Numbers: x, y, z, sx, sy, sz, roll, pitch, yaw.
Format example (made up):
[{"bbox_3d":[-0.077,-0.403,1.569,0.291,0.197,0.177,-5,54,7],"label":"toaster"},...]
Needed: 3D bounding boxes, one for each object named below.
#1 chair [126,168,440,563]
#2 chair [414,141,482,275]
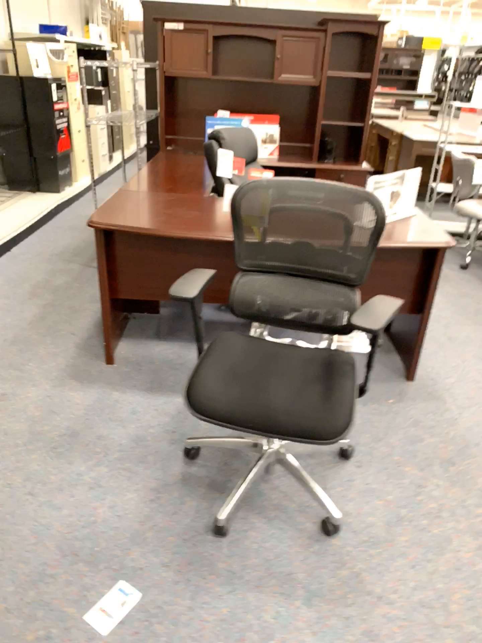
[{"bbox_3d":[0.111,0.094,1.620,0.697,0.983,0.687,7,27,7],"label":"chair"},{"bbox_3d":[1.864,-0.898,3.845,0.674,0.824,0.710,4,27,1],"label":"chair"}]
